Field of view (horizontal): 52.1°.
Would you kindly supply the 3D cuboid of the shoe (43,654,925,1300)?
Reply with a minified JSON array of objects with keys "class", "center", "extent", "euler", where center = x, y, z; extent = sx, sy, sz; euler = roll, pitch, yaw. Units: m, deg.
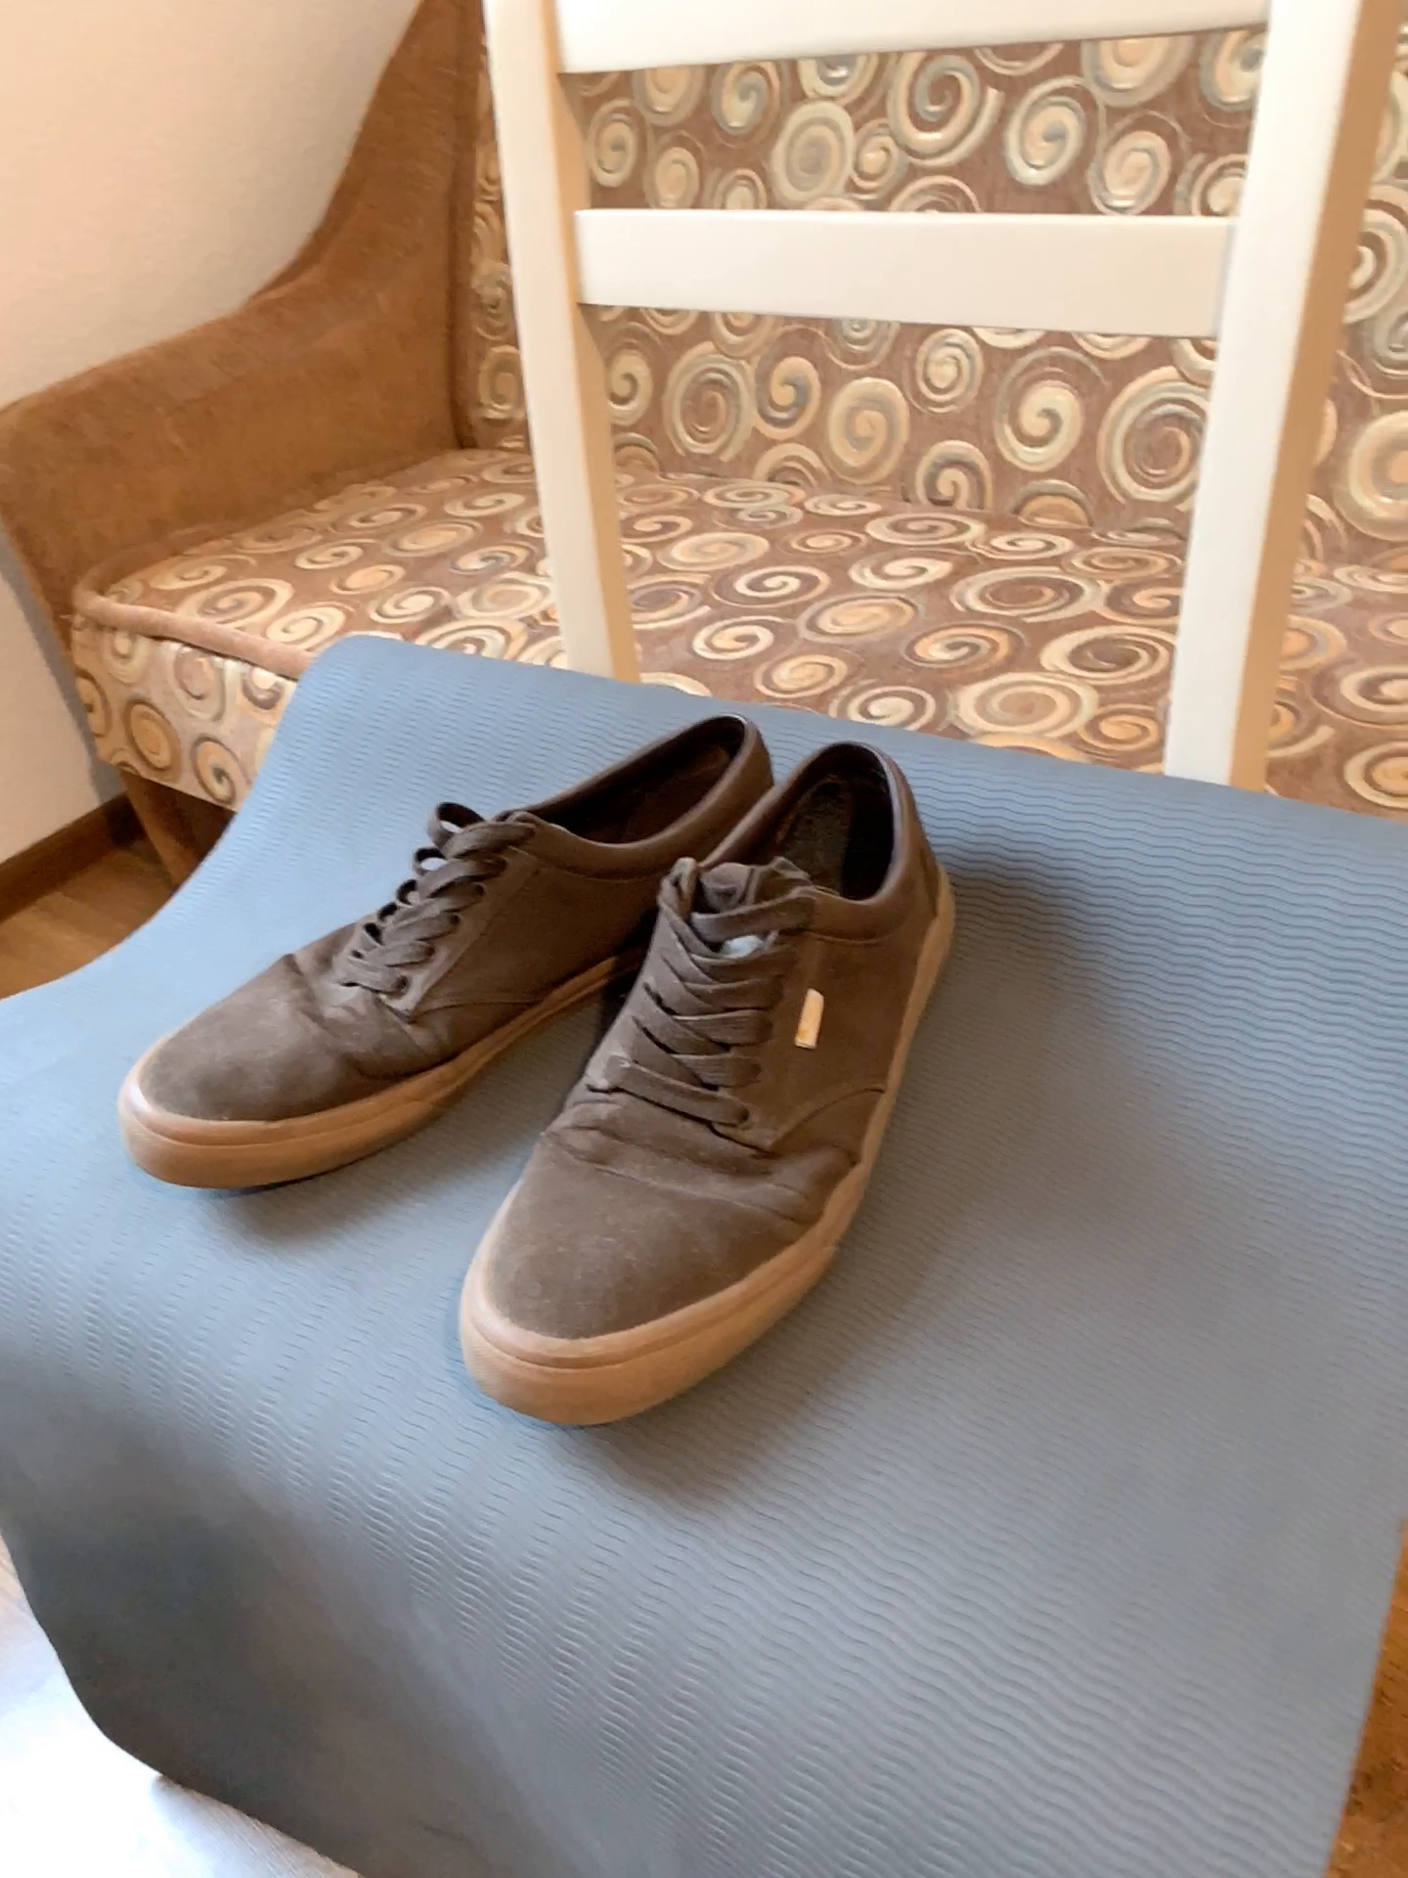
[{"class":"shoe","center":[-0.073,-0.004,0.591],"extent":[0.340,0.080,0.111],"euler":[-29,41,-25]}]

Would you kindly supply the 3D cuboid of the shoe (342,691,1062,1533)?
[{"class":"shoe","center":[0.026,0.029,0.506],"extent":[0.110,0.080,0.321],"euler":[11,41,26]}]
